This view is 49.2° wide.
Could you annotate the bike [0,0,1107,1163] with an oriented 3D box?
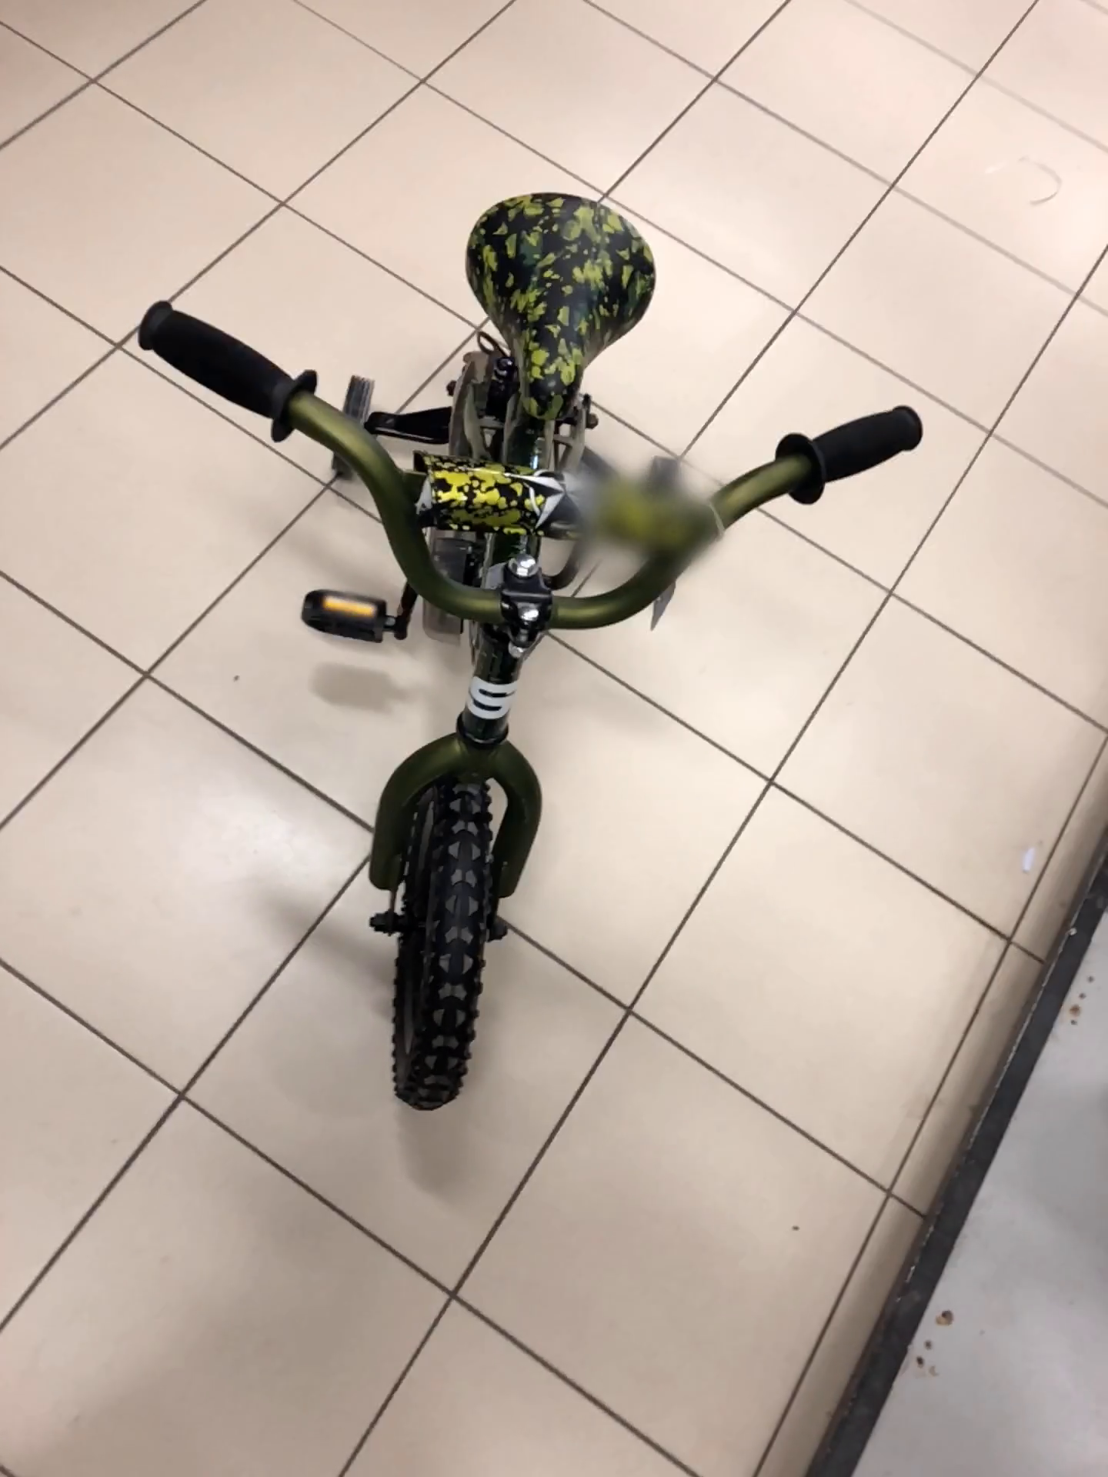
[{"bbox_3d":[-0.016,-0.141,0.970,0.532,0.558,0.818,9,64,-6],"label":"bike"}]
